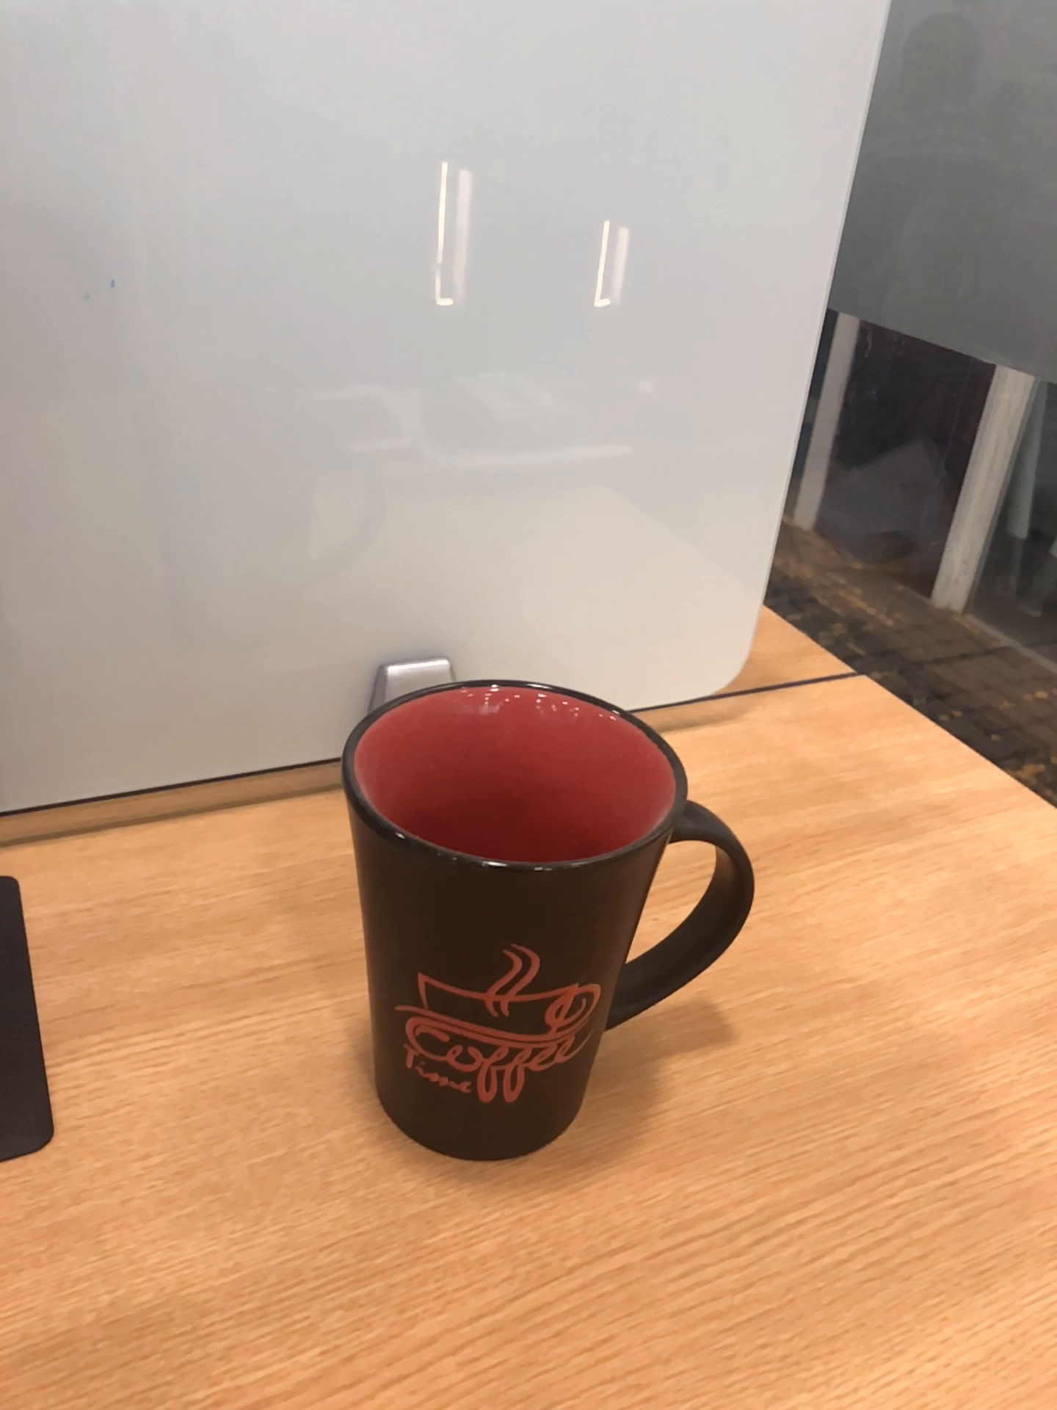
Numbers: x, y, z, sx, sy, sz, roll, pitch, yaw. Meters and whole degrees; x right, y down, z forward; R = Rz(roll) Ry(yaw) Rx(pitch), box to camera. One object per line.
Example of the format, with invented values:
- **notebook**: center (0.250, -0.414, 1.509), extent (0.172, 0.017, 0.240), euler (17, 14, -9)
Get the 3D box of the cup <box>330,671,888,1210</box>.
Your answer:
- **cup**: center (0.011, 0.058, 0.323), extent (0.120, 0.100, 0.090), euler (-2, 30, -15)
